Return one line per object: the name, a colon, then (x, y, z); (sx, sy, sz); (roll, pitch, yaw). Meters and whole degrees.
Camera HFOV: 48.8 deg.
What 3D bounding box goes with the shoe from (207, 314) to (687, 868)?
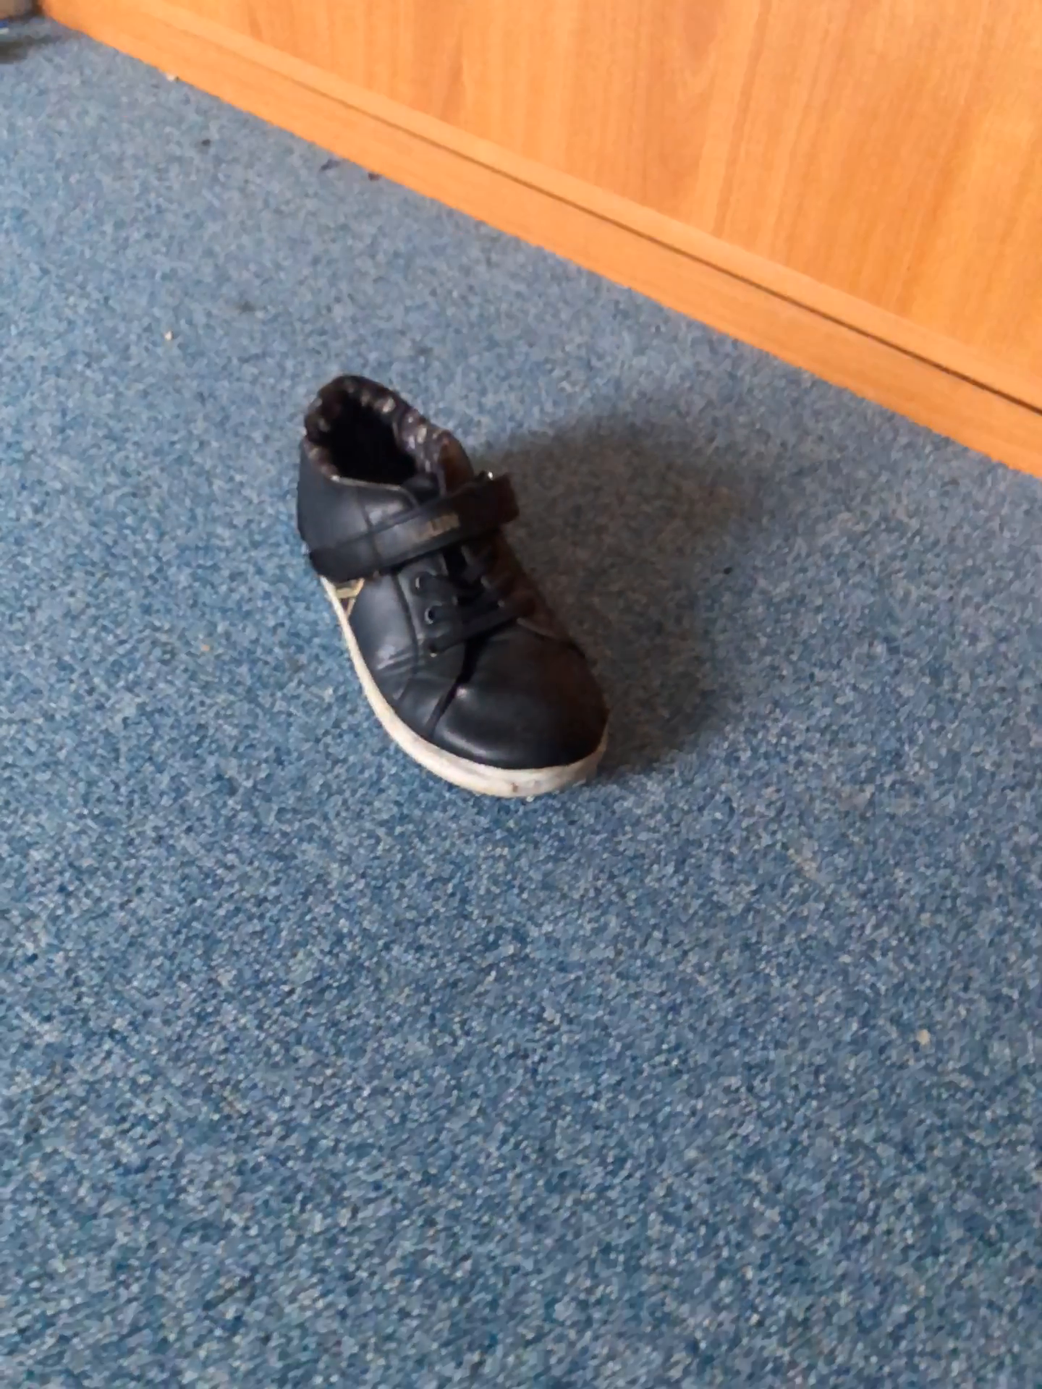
shoe: (-0.043, -0.057, 0.505); (0.110, 0.090, 0.231); (-19, 54, -20)
